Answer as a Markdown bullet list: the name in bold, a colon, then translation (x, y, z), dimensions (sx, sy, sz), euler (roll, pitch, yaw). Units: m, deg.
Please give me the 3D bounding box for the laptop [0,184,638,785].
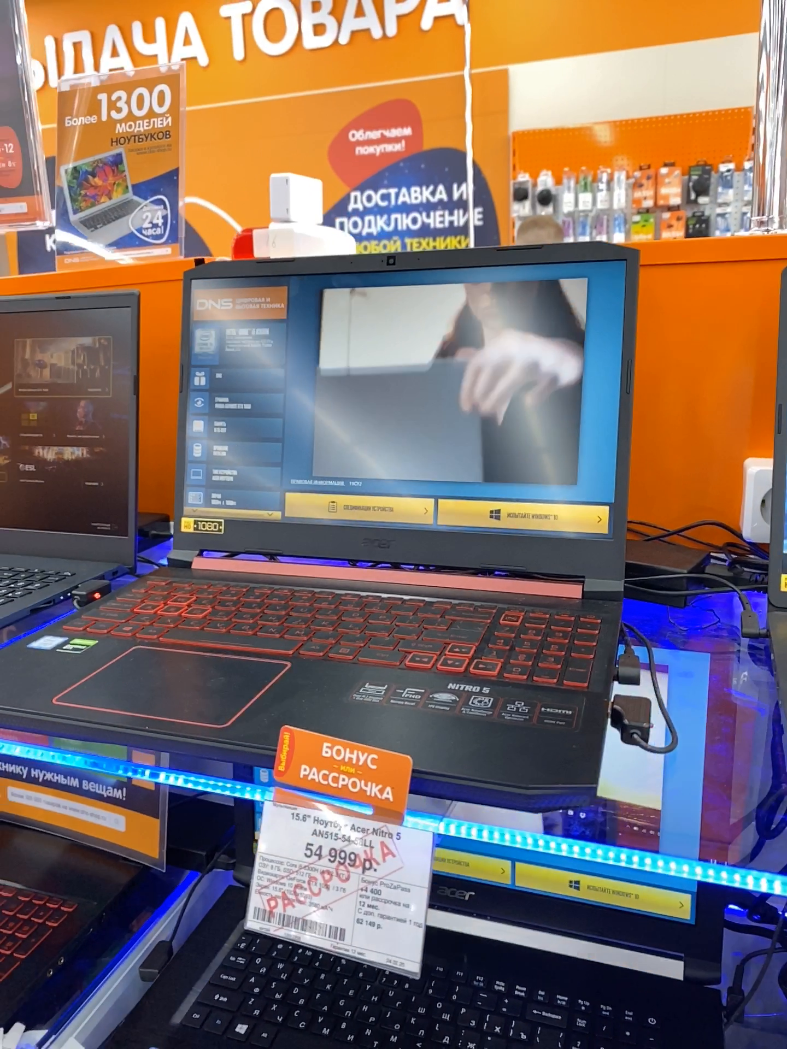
- **laptop**: translation (-0.044, -0.050, 0.504), dimensions (0.360, 0.237, 0.303), euler (3, 14, 17)
